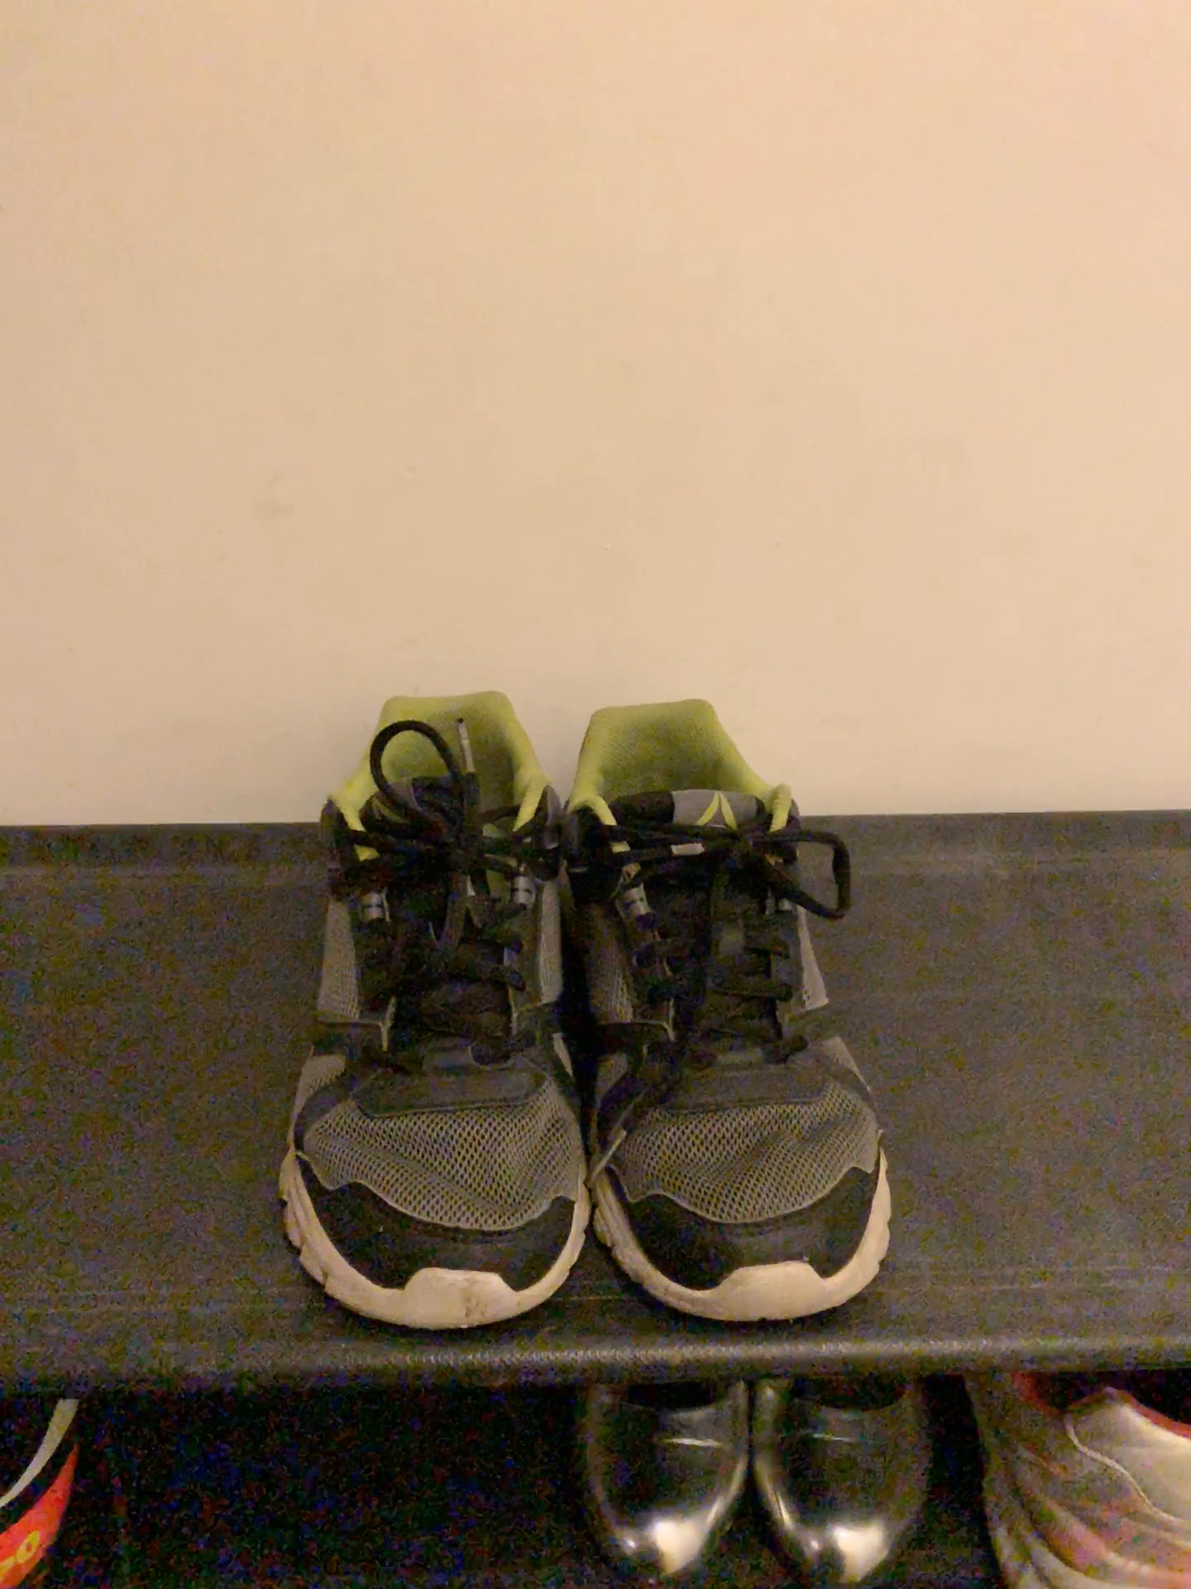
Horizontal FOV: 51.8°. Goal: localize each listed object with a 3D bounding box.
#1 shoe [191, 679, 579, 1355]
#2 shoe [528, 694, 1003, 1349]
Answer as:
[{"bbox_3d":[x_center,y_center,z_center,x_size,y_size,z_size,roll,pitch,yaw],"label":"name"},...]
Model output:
[{"bbox_3d":[-0.063,0.058,0.451,0.100,0.099,0.252,-1,31,-4],"label":"shoe"},{"bbox_3d":[0.037,0.055,0.440,0.110,0.069,0.262,-2,31,-5],"label":"shoe"}]
